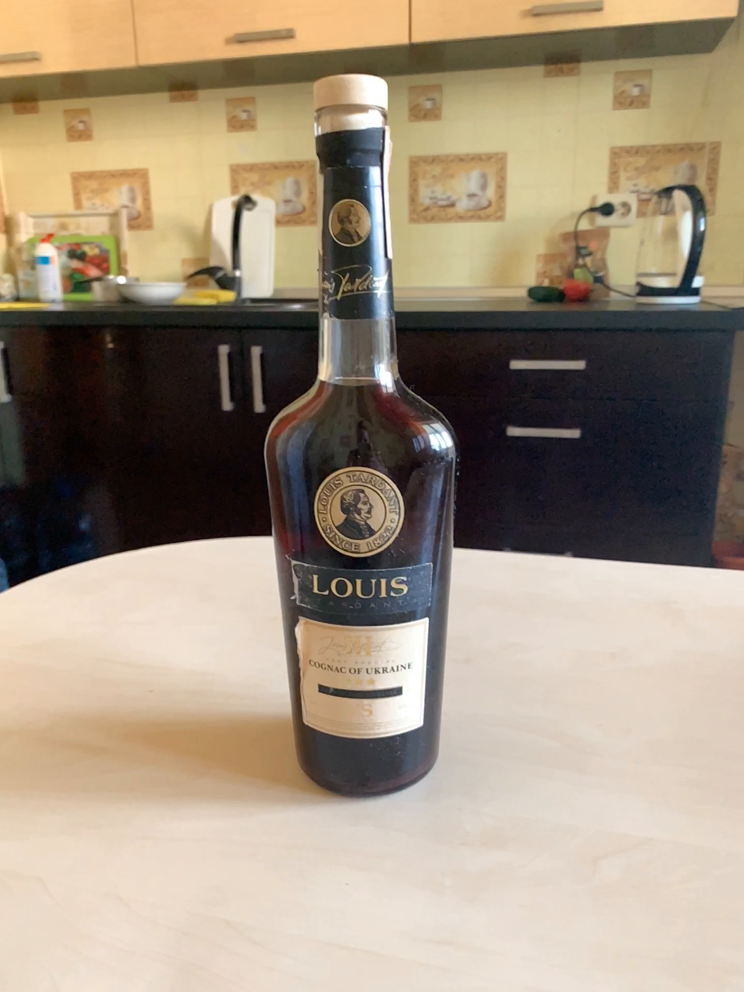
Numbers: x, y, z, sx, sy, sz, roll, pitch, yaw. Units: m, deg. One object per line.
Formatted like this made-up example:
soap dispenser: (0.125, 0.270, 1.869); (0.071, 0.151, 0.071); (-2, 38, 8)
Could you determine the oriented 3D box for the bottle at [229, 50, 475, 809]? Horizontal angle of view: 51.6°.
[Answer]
bottle: (-0.006, -0.017, 0.328); (0.080, 0.289, 0.080); (-1, 16, 0)
